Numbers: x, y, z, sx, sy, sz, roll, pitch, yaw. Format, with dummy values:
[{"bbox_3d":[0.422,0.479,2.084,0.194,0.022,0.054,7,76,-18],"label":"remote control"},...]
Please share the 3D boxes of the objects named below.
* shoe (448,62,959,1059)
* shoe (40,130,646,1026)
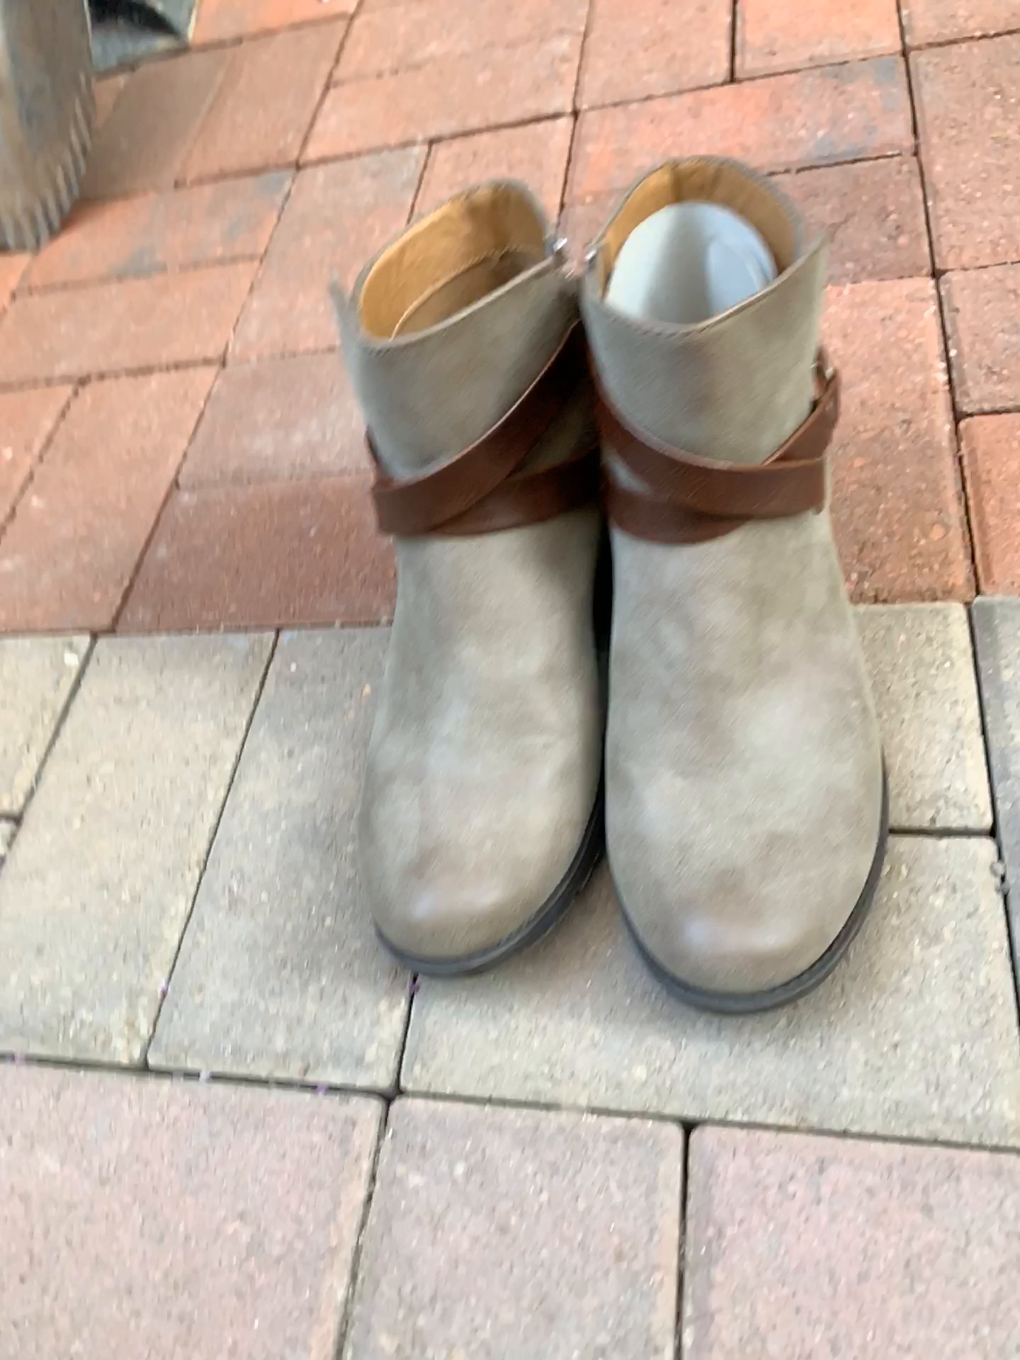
[{"bbox_3d":[0.070,-0.034,0.331,0.095,0.165,0.252,-3,57,17],"label":"shoe"},{"bbox_3d":[-0.024,-0.030,0.357,0.095,0.165,0.240,-2,57,18],"label":"shoe"}]
